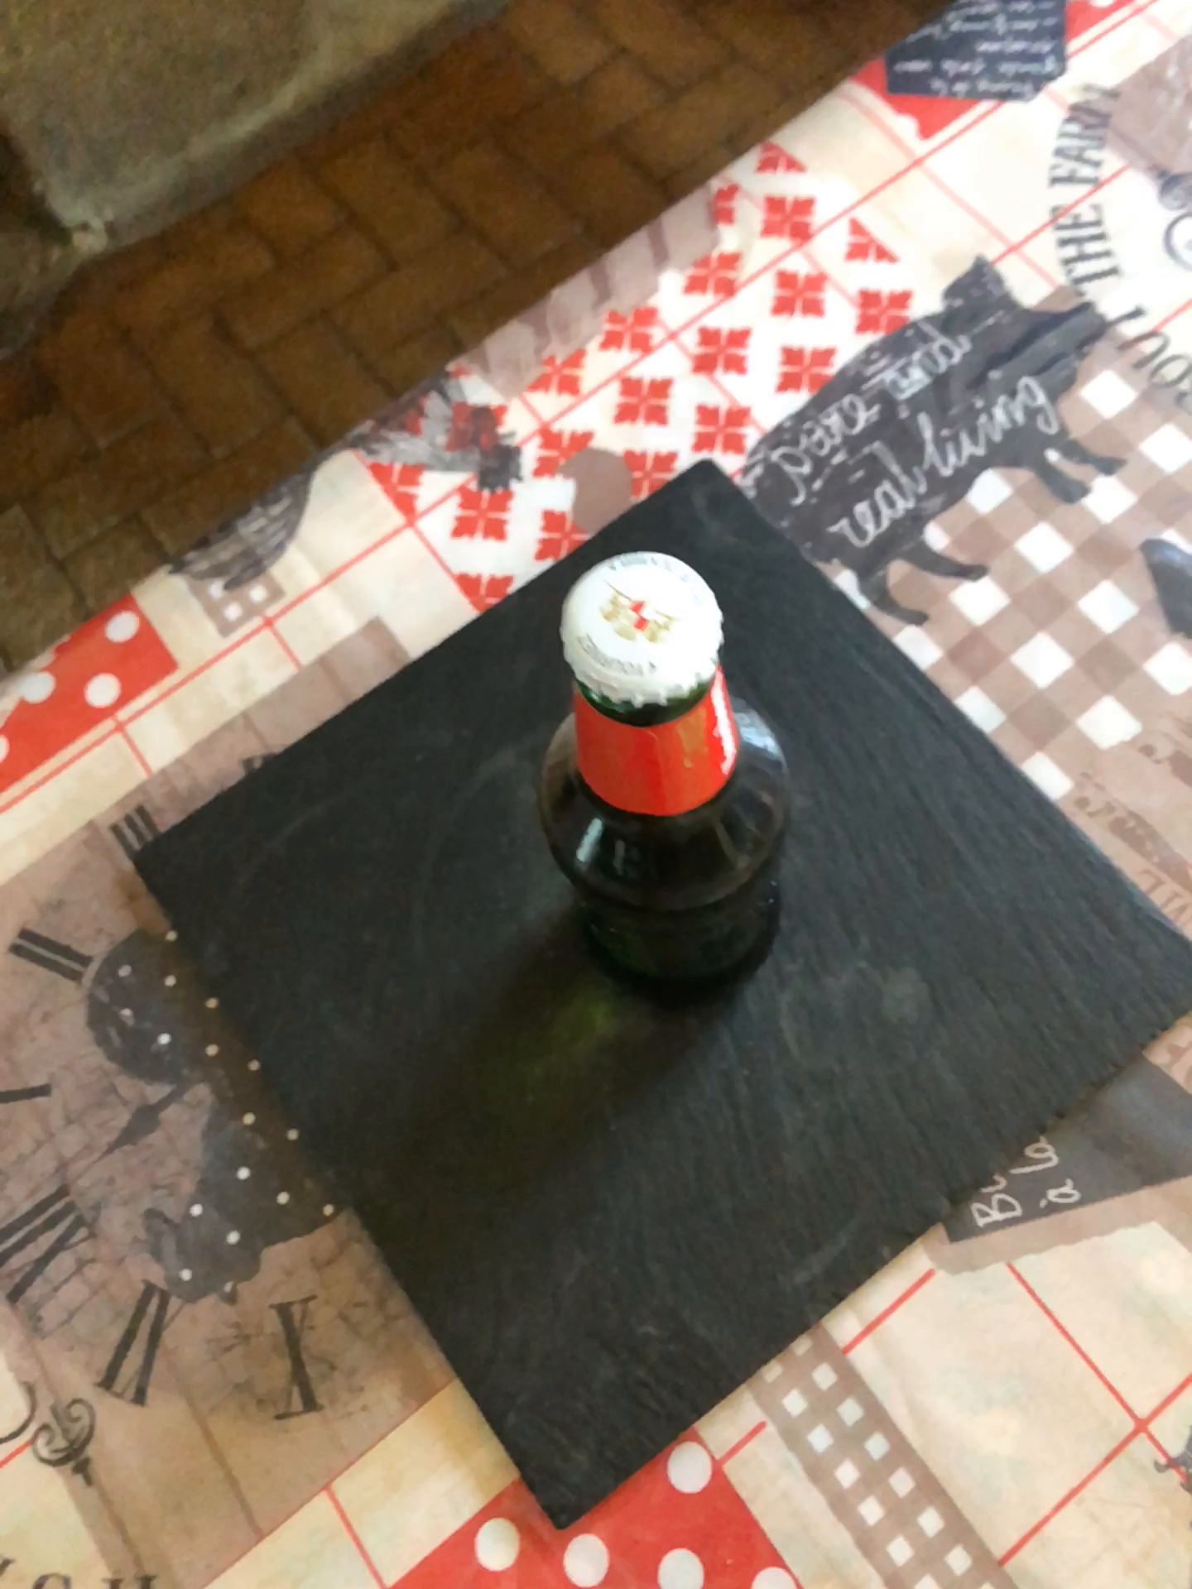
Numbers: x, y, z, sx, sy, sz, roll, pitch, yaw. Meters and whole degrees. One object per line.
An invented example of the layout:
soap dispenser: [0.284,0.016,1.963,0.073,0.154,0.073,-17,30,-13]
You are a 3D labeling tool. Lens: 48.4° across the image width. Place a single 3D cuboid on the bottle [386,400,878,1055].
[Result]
bottle: [0.016,0.001,0.308,0.060,0.180,0.060,-2,67,6]
